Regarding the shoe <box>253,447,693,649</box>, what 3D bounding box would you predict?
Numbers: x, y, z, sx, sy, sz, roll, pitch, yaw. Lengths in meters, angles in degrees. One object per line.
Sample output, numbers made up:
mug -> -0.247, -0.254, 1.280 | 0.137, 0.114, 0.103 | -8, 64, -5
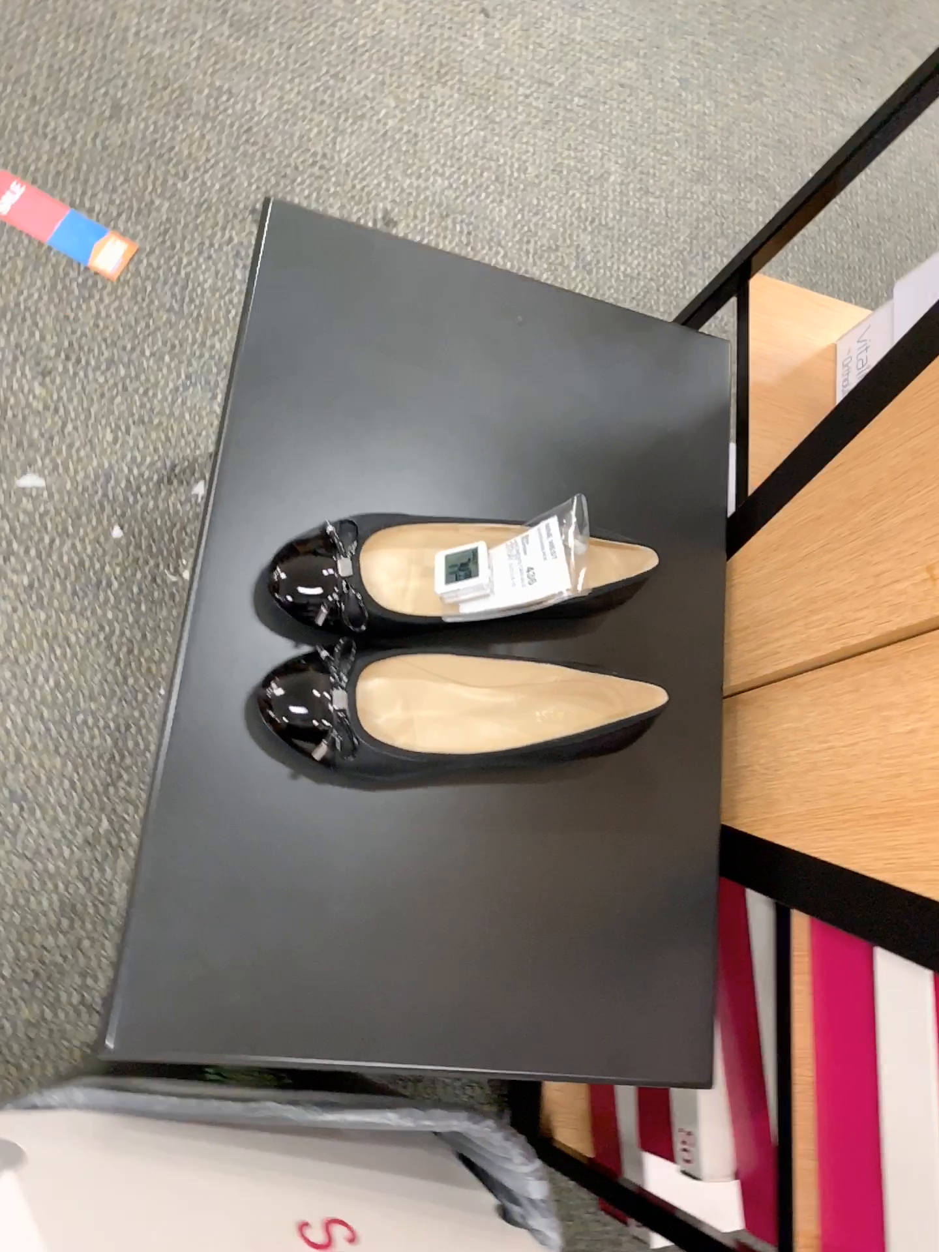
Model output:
shoe -> -0.001, -0.041, 0.600 | 0.250, 0.100, 0.090 | 1, 76, -20

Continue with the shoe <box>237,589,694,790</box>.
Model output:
shoe -> -0.004, 0.046, 0.578 | 0.250, 0.100, 0.090 | 5, 74, -18
